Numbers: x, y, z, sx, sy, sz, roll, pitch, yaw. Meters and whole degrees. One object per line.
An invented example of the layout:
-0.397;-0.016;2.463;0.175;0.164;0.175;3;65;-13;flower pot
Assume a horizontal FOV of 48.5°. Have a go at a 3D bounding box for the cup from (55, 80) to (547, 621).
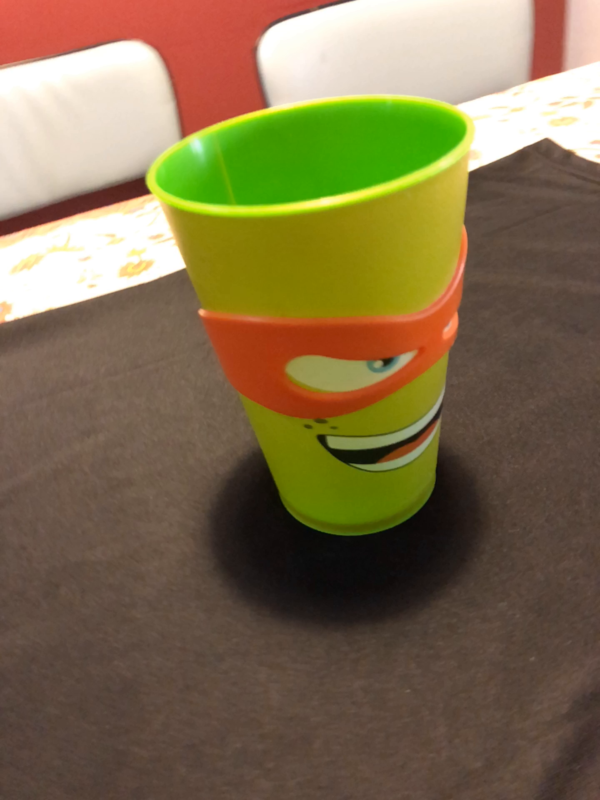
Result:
0.010;-0.025;0.240;0.110;0.139;0.100;-8;37;6;cup
